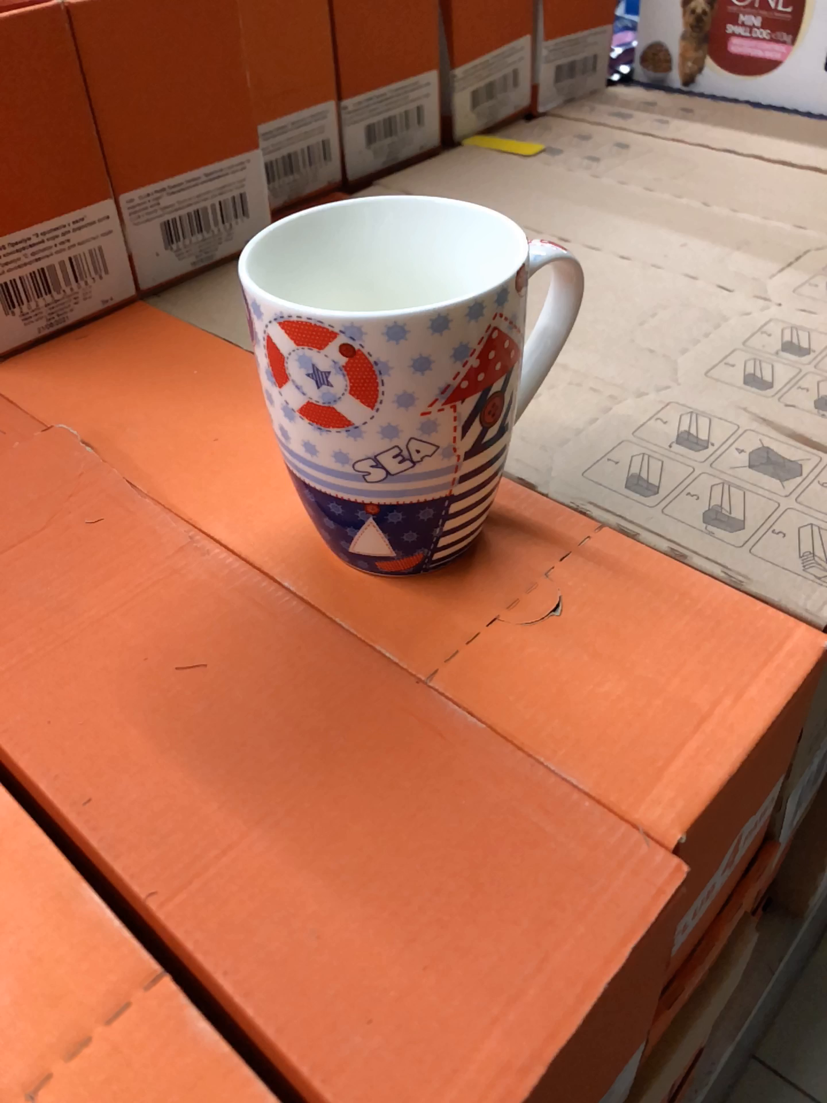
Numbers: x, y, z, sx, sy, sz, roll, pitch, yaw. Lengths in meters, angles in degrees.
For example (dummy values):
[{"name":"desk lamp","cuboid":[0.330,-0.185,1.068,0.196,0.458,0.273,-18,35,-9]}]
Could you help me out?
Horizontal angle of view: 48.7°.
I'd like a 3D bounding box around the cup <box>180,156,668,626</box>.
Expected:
[{"name":"cup","cuboid":[0.004,-0.058,0.293,0.113,0.092,0.086,-26,45,-27]}]
